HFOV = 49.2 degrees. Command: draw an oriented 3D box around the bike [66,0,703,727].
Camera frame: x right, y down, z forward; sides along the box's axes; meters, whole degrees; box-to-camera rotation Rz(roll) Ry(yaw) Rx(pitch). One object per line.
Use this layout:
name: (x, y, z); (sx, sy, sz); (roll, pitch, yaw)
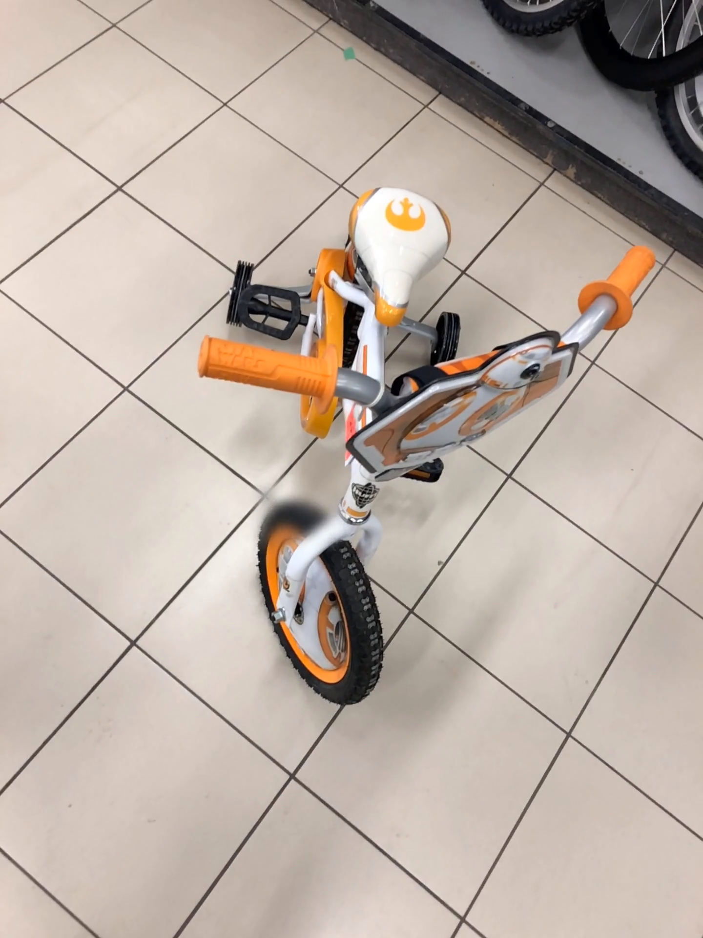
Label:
bike: (0.011, -0.142, 0.985); (0.435, 0.716, 0.816); (4, 68, -7)
